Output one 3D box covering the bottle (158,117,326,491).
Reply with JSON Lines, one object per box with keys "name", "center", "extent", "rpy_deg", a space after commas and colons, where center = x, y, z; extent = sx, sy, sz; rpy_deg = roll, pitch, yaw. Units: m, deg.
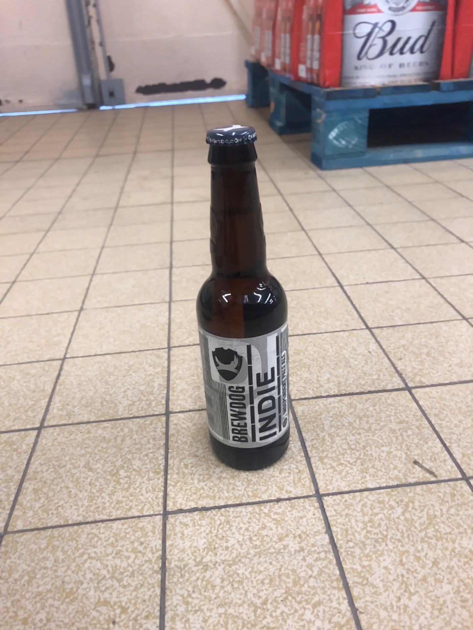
{"name": "bottle", "center": [0.006, -0.003, 0.338], "extent": [0.070, 0.222, 0.070], "rpy_deg": [-3, 27, 1]}
